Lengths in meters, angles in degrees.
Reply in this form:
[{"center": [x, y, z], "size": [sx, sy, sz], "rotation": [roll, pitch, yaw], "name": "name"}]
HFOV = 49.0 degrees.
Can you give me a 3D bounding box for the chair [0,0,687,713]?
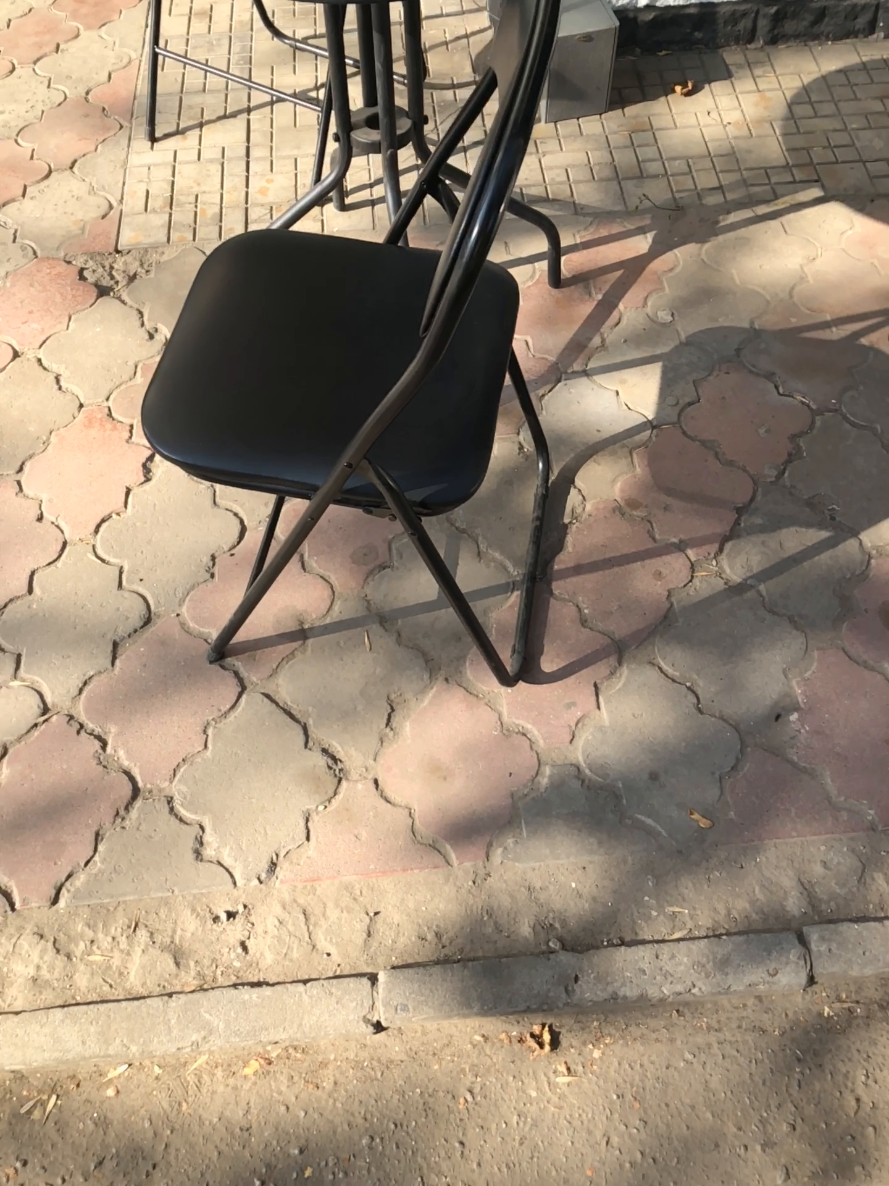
[{"center": [-0.051, -0.347, 1.311], "size": [0.570, 0.838, 0.582], "rotation": [8, 52, 6], "name": "chair"}]
